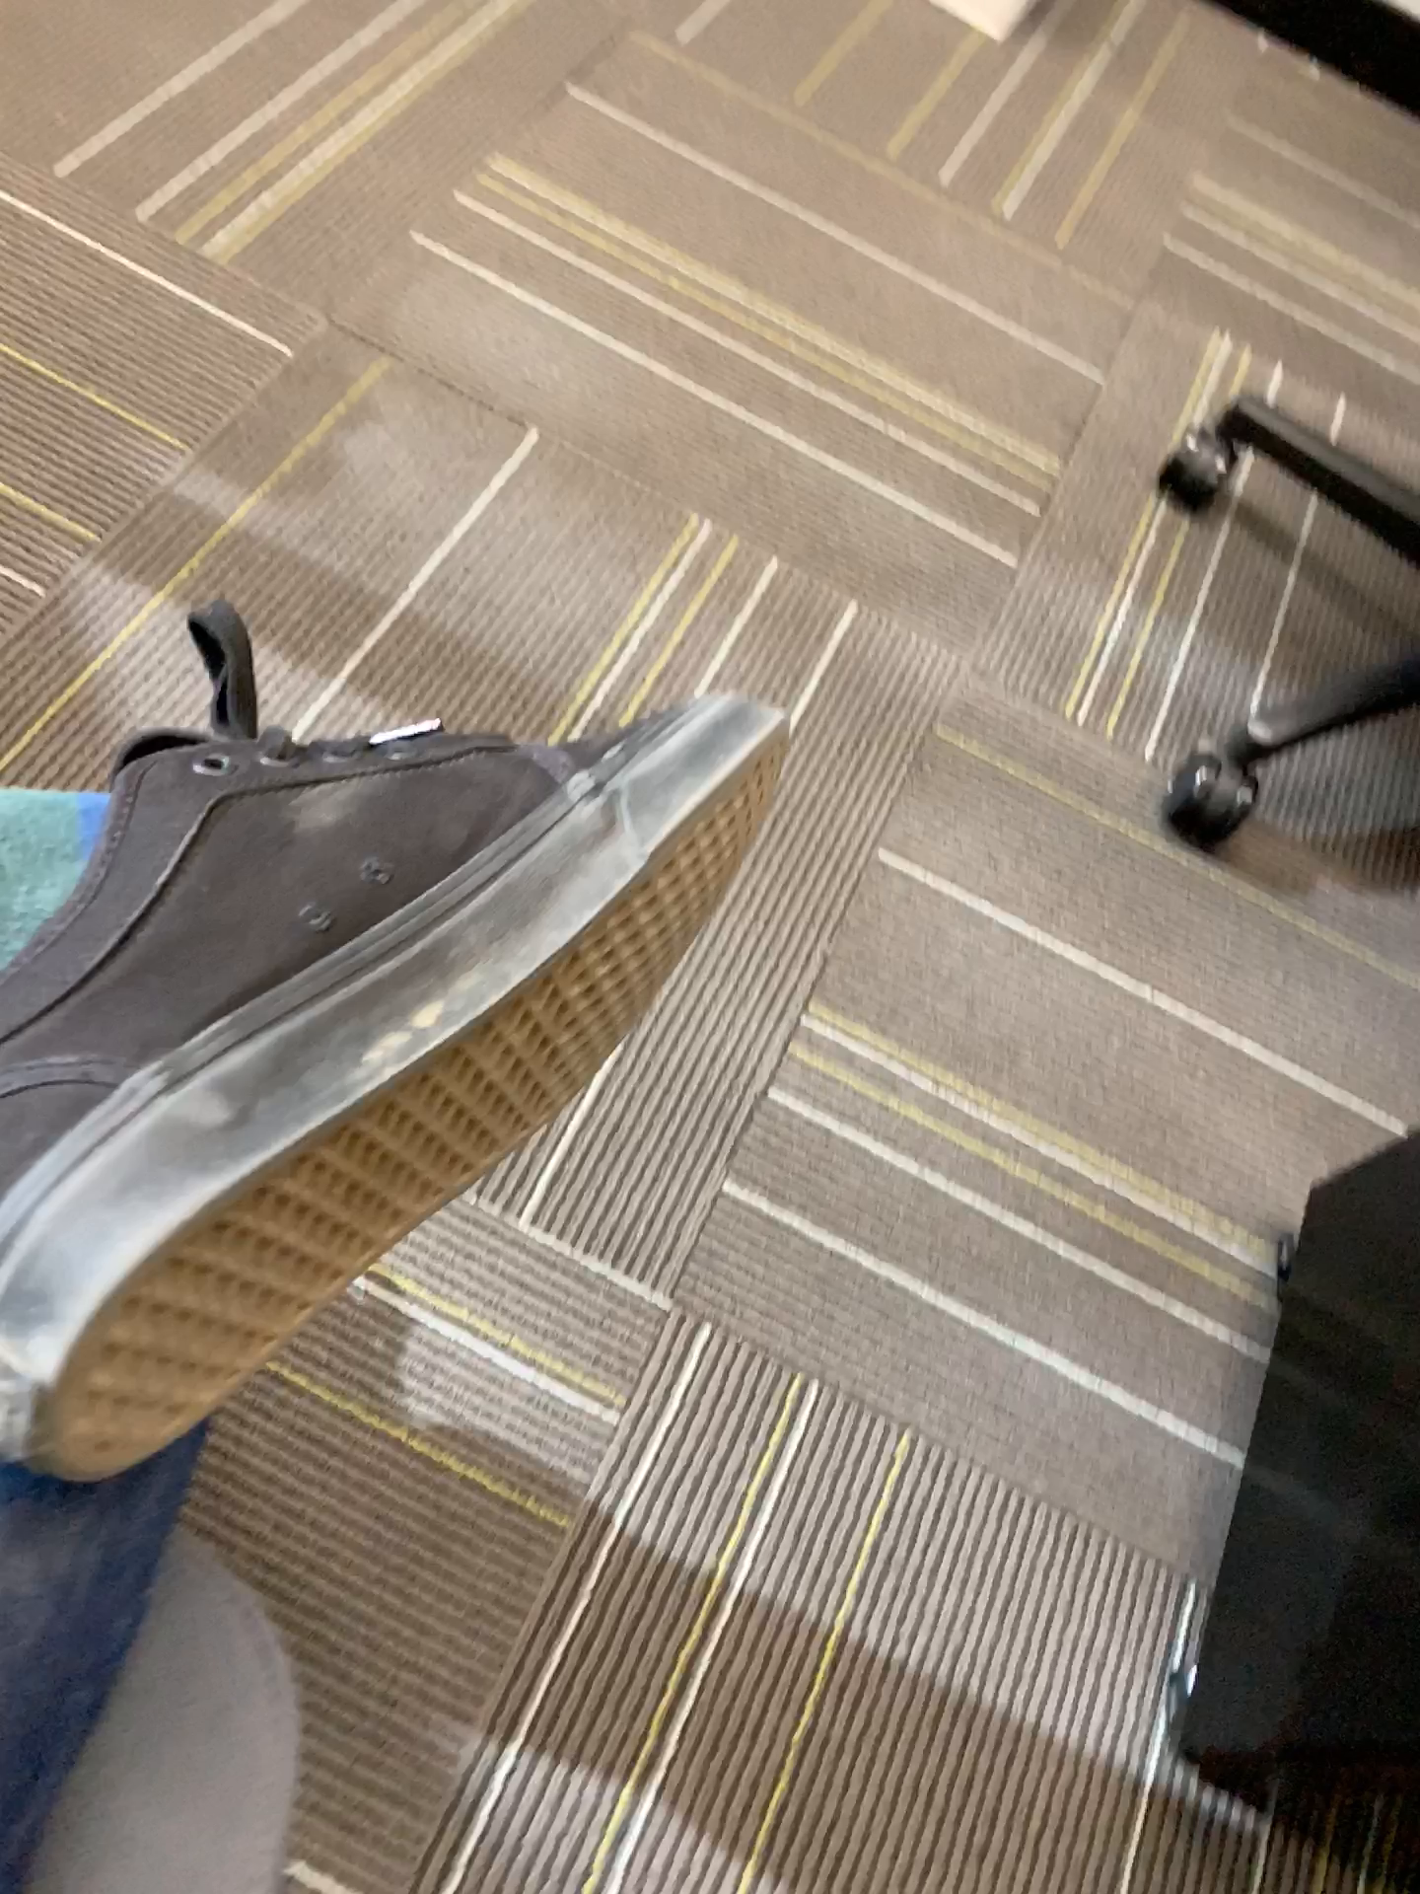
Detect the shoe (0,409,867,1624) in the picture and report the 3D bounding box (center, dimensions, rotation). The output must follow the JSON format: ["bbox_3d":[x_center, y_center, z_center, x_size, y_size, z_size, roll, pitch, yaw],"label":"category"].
[{"bbox_3d":[-0.097,0.003,0.369,0.134,0.120,0.261,34,57,13],"label":"shoe"}]
